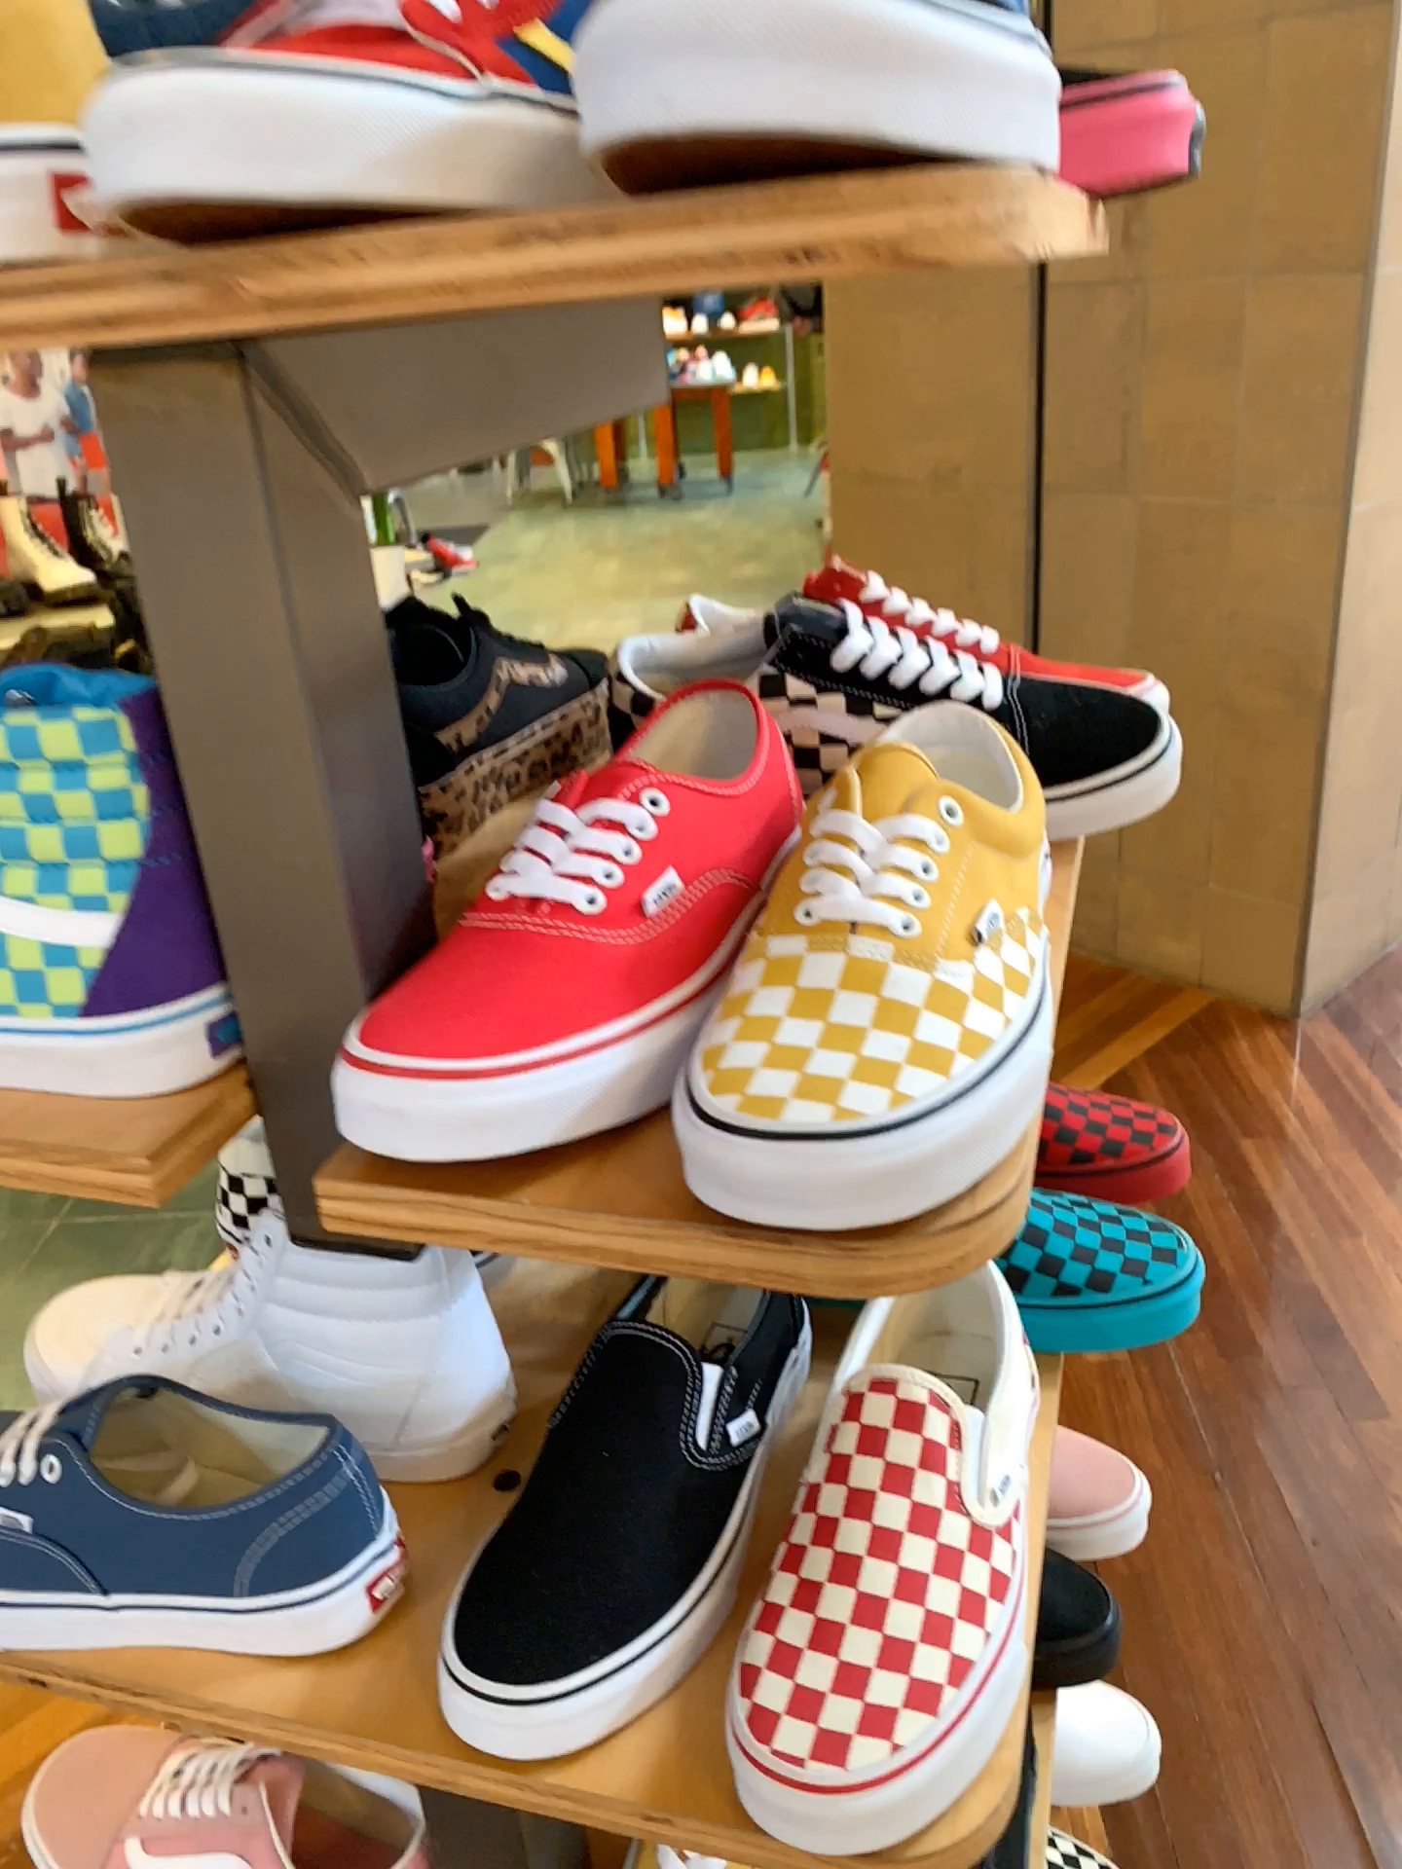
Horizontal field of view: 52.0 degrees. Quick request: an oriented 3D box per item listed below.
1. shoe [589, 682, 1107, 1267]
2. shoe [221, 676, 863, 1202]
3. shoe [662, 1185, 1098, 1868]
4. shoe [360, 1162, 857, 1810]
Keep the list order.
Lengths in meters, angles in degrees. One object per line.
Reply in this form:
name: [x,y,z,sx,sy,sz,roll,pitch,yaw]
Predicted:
shoe: [0.066,-0.011,0.456,0.103,0.067,0.269,4,26,18]
shoe: [-0.030,-0.020,0.494,0.109,0.067,0.269,4,26,19]
shoe: [0.083,0.206,0.547,0.103,0.067,0.269,4,26,19]
shoe: [-0.020,0.203,0.599,0.105,0.067,0.269,4,26,19]
